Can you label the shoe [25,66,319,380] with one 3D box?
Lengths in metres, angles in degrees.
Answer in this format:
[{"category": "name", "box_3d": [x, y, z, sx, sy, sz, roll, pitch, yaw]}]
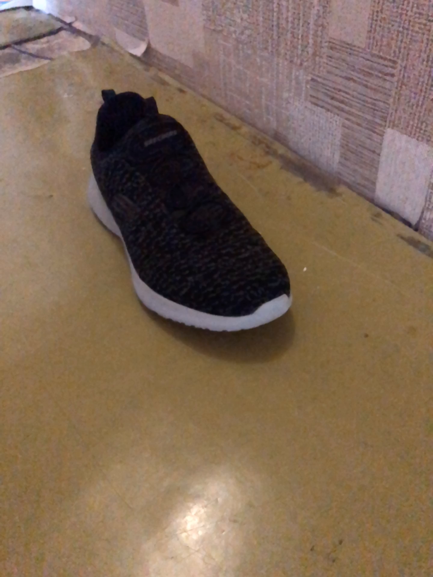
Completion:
[{"category": "shoe", "box_3d": [-0.061, -0.090, 0.466, 0.130, 0.119, 0.321, -24, 48, -19]}]
